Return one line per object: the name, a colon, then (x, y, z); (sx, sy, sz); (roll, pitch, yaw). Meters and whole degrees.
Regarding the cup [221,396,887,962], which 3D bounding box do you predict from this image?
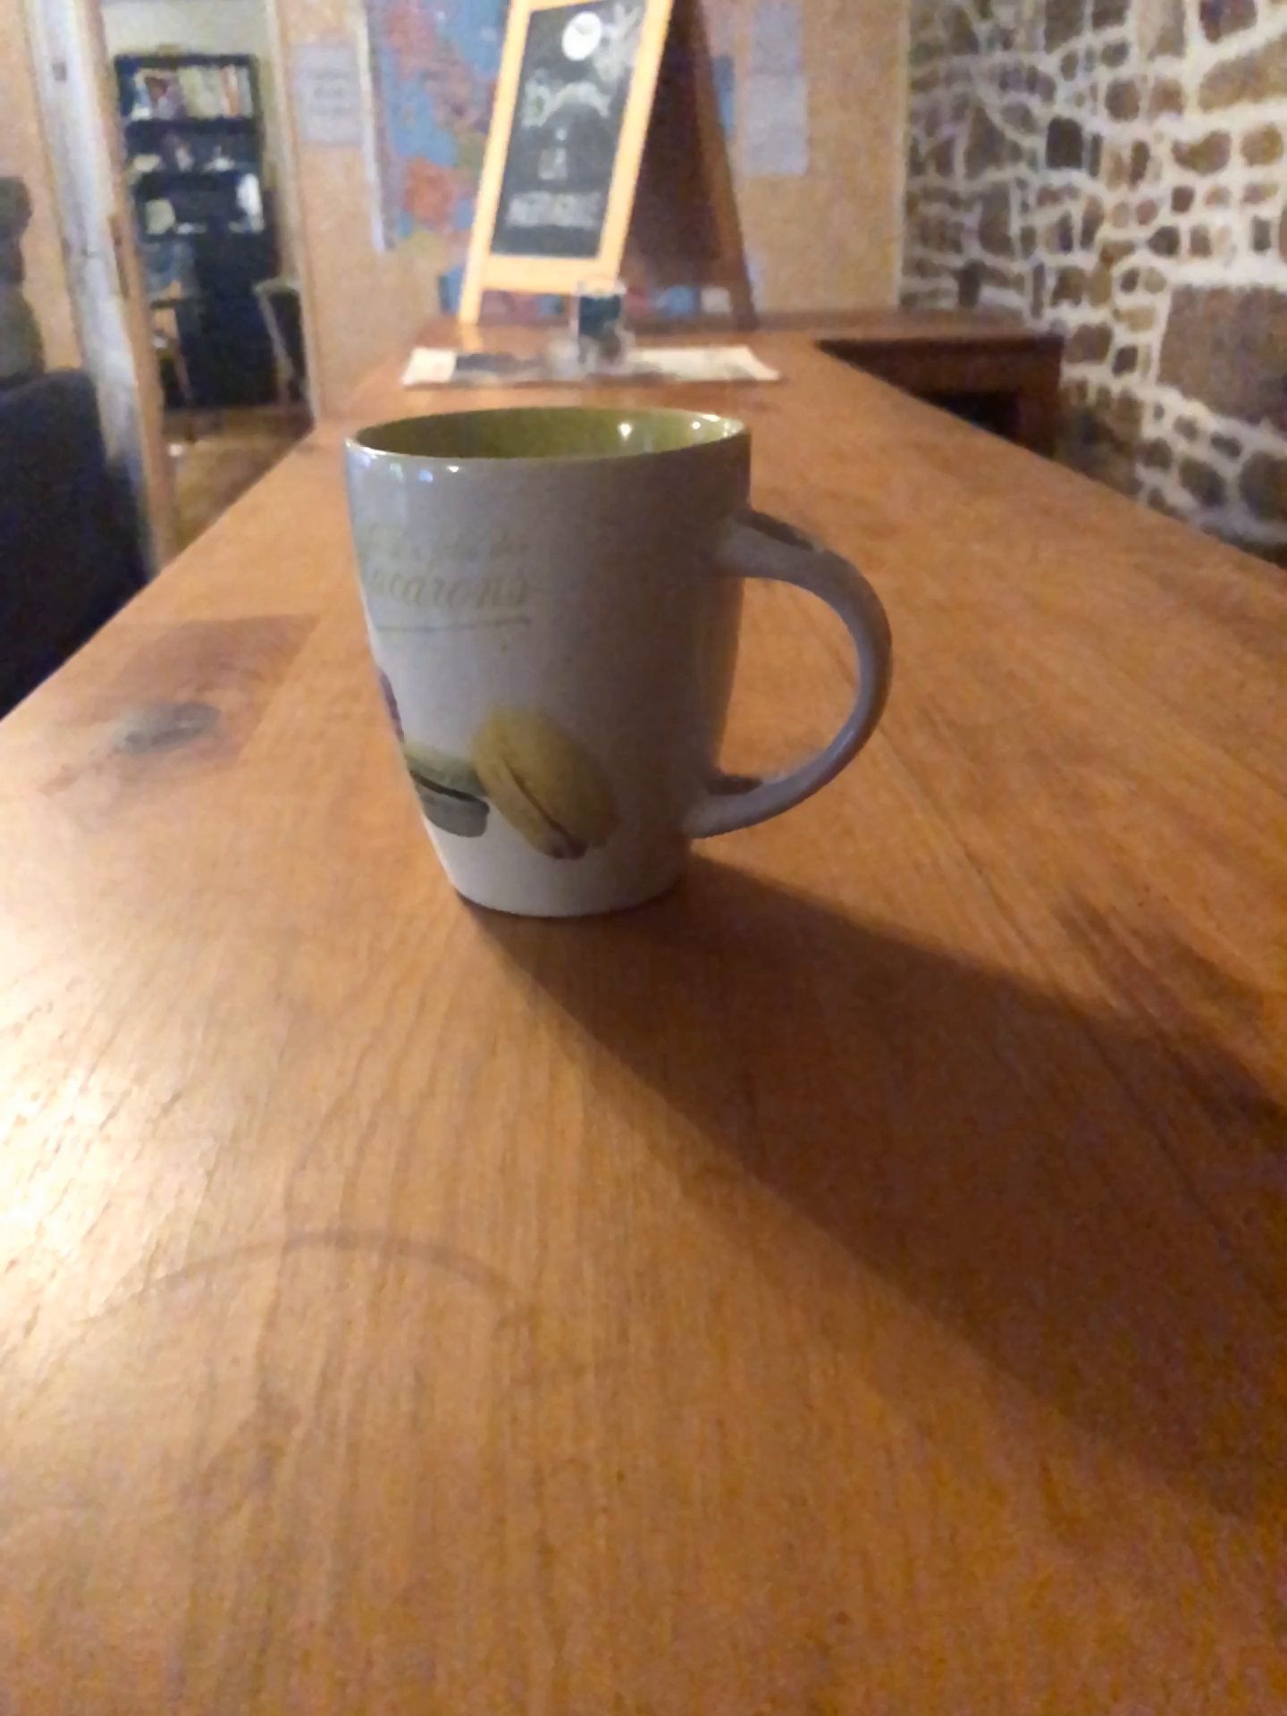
cup: (-0.012, -0.049, 0.331); (0.120, 0.099, 0.098); (5, 25, 15)
